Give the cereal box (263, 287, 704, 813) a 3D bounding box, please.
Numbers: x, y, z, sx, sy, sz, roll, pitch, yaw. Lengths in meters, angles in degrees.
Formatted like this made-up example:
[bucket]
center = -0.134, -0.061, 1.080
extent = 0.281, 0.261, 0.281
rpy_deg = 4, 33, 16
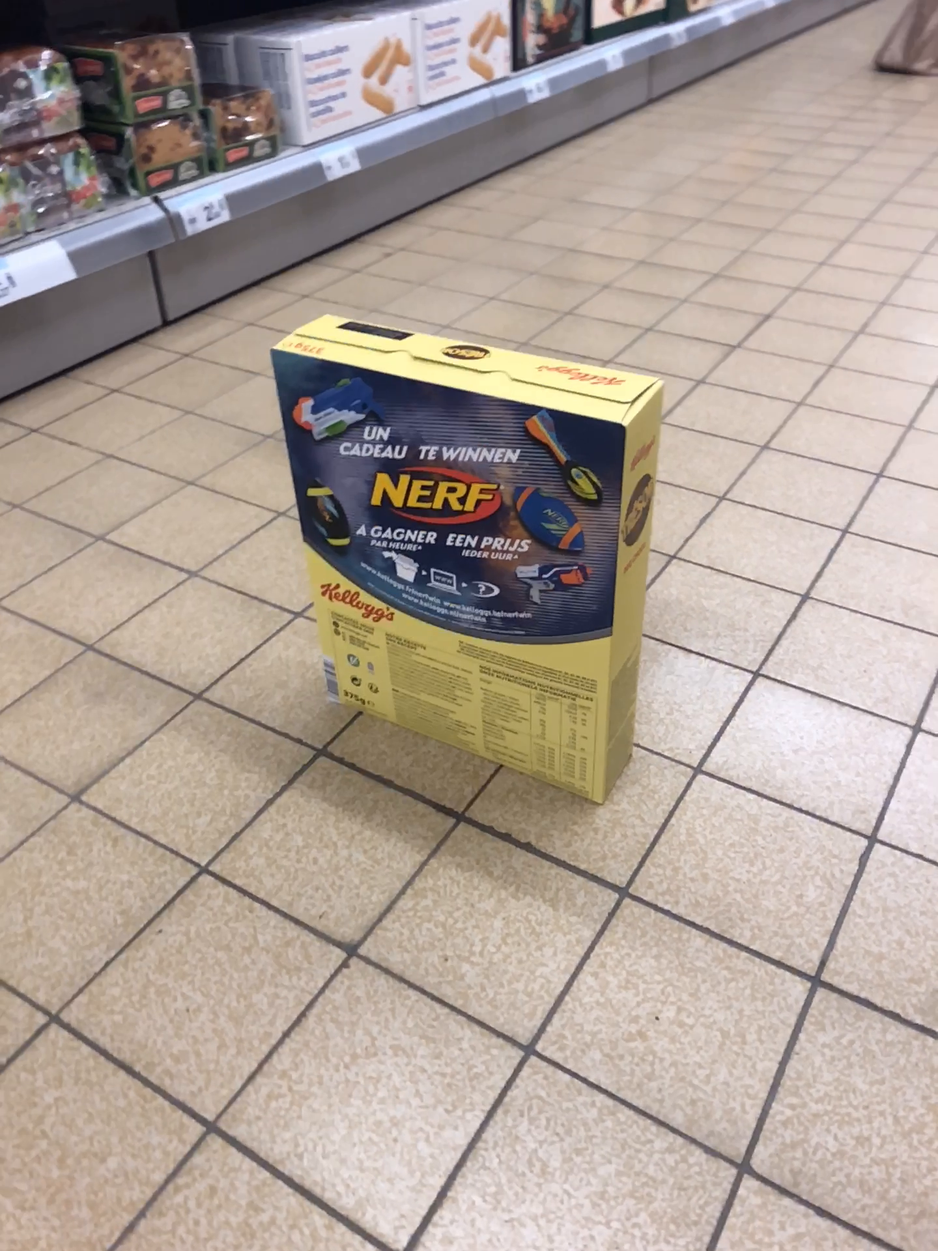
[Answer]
[cereal box]
center = 0.006, -0.038, 0.549
extent = 0.200, 0.238, 0.060
rpy_deg = 17, 41, 24
